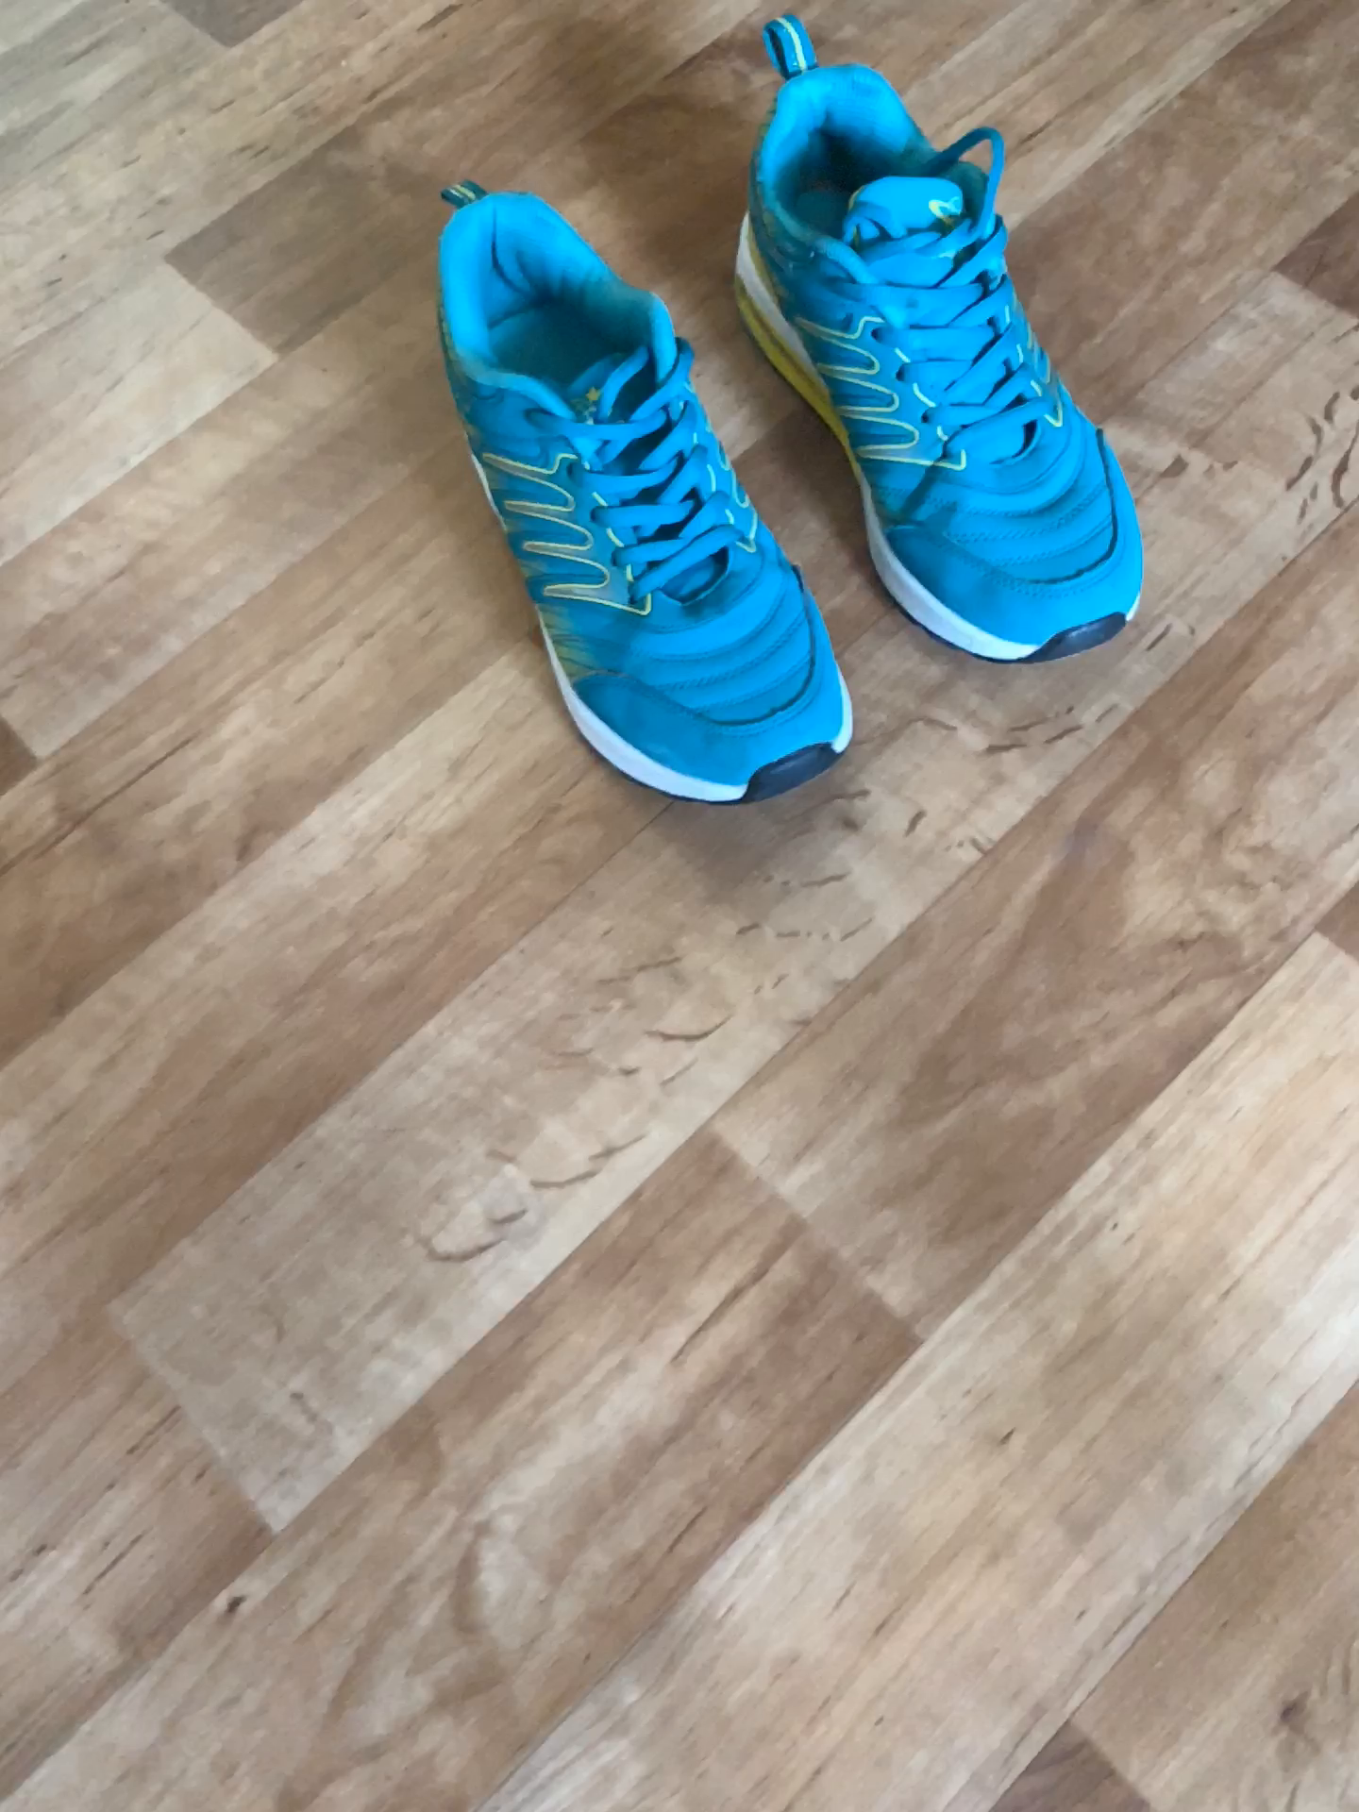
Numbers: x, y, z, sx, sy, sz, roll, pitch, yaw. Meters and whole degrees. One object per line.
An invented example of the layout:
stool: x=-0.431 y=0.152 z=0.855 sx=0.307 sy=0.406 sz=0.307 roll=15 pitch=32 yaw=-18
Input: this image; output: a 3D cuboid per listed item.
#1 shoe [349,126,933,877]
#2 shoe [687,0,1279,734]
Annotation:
shoe: x=-0.019 y=-0.149 z=0.514 sx=0.100 sy=0.120 sz=0.230 roll=-26 pitch=66 yaw=-10
shoe: x=0.098 y=-0.209 z=0.532 sx=0.100 sy=0.120 sz=0.240 roll=-22 pitch=66 yaw=-6
